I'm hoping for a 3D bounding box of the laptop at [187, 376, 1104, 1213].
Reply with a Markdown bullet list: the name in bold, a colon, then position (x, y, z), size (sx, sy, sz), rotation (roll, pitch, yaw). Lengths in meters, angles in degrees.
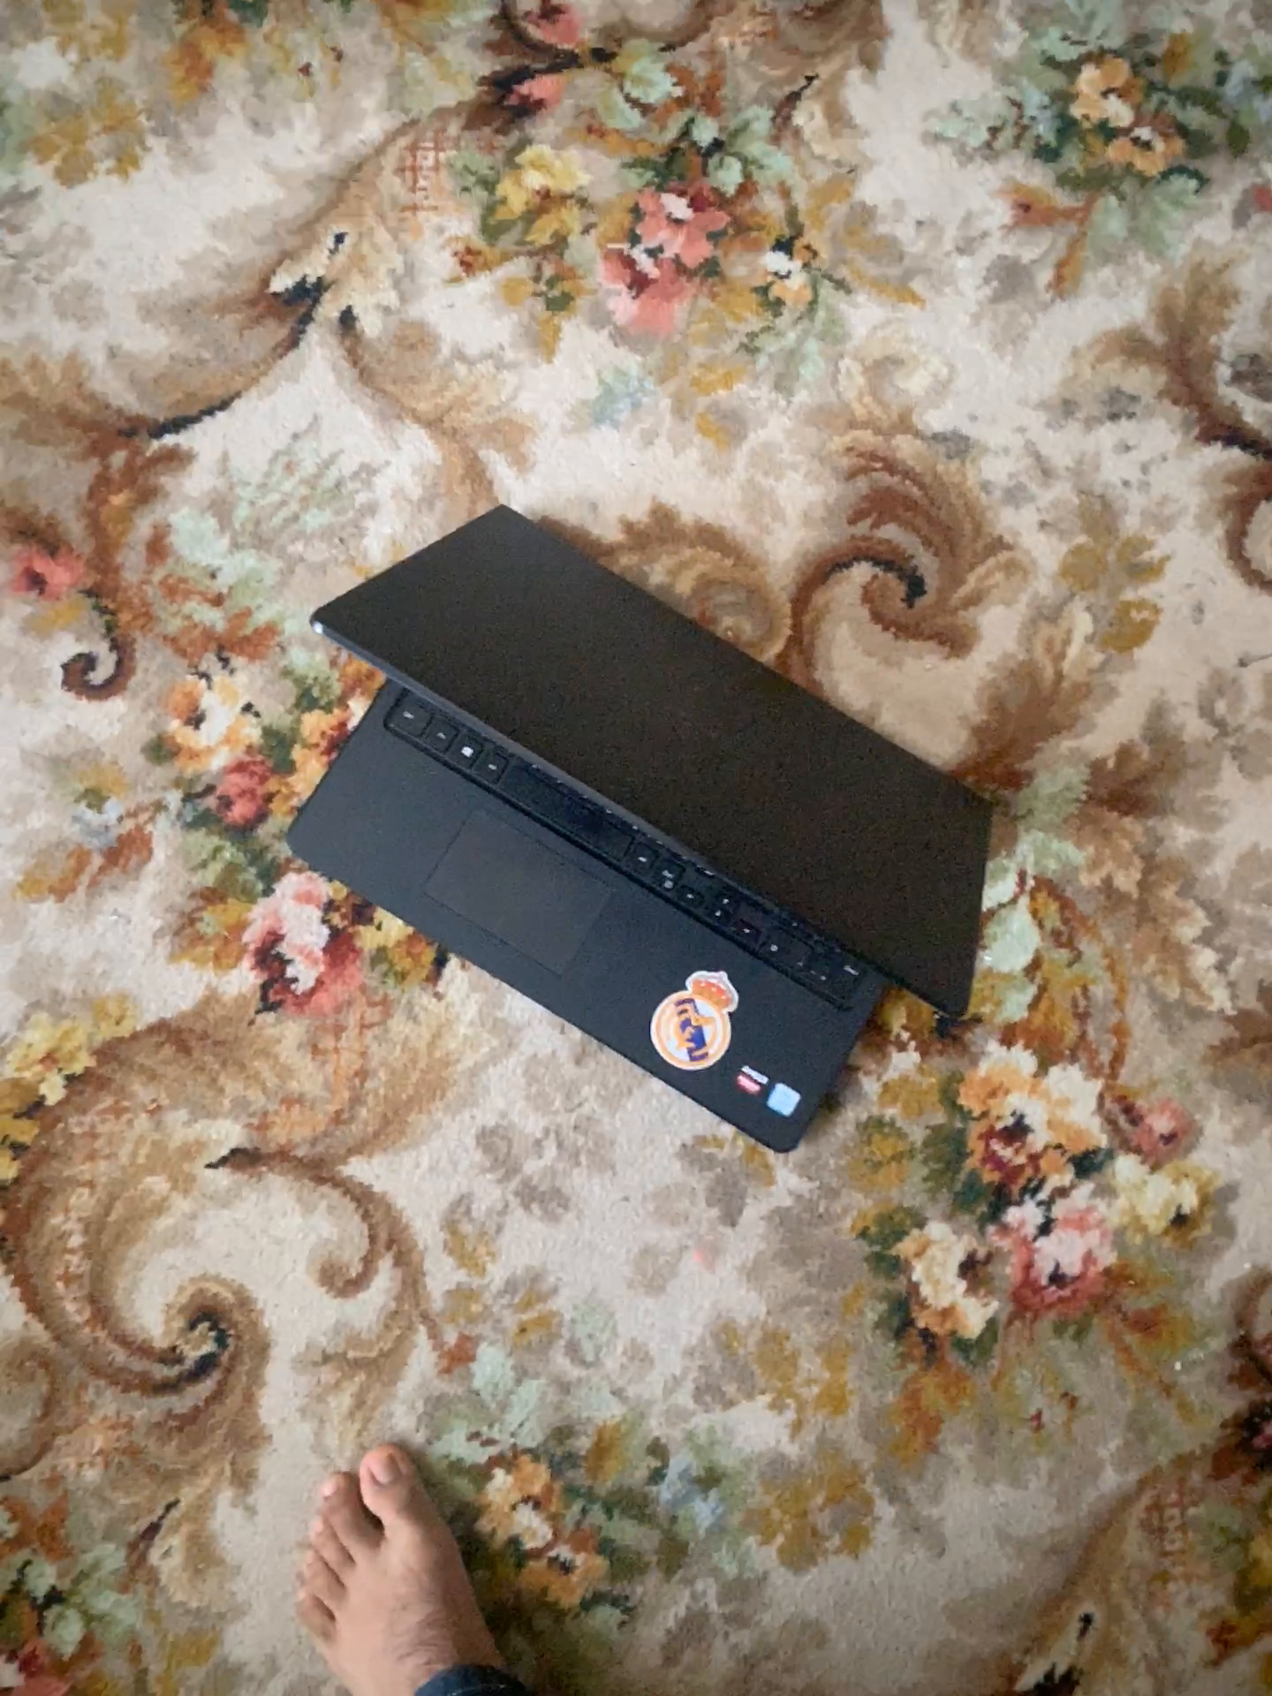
- **laptop**: position (0.007, -0.022, 0.720), size (0.366, 0.194, 0.251), rotation (31, 83, 0)
